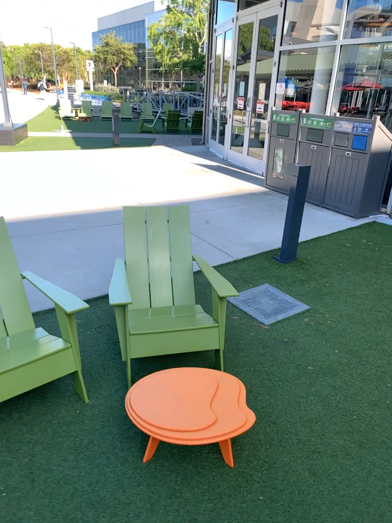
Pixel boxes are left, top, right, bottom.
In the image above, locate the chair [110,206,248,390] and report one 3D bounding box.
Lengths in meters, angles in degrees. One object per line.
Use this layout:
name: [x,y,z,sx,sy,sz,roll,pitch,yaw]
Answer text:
chair: [-0.165,0.170,2.567,0.710,0.856,0.854,-1,23,-10]
